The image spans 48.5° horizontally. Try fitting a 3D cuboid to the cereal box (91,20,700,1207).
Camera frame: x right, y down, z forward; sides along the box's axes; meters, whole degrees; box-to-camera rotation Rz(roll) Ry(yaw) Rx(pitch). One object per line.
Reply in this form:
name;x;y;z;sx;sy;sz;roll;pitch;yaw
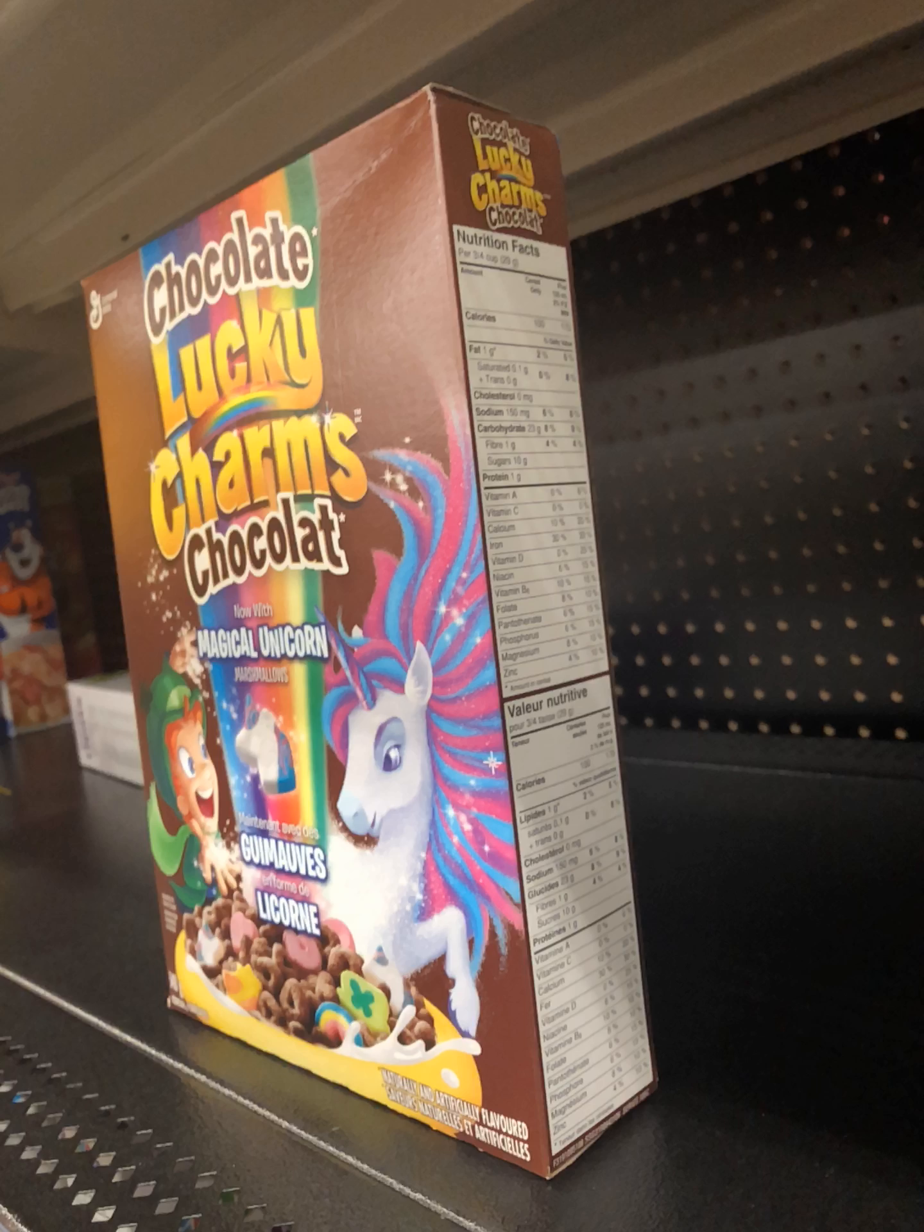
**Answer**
cereal box;-0.036;0.002;0.342;0.060;0.290;0.200;-7;3;-44
